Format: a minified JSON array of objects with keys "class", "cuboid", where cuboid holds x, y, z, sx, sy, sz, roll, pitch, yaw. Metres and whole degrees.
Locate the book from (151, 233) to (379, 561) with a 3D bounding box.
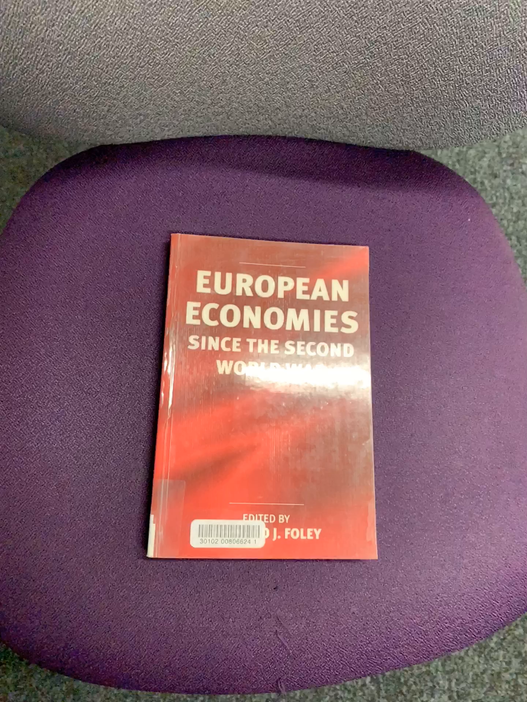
[{"class":"book","cuboid":[0.004,0.028,0.388,0.148,0.020,0.225,3,76,-5]}]
